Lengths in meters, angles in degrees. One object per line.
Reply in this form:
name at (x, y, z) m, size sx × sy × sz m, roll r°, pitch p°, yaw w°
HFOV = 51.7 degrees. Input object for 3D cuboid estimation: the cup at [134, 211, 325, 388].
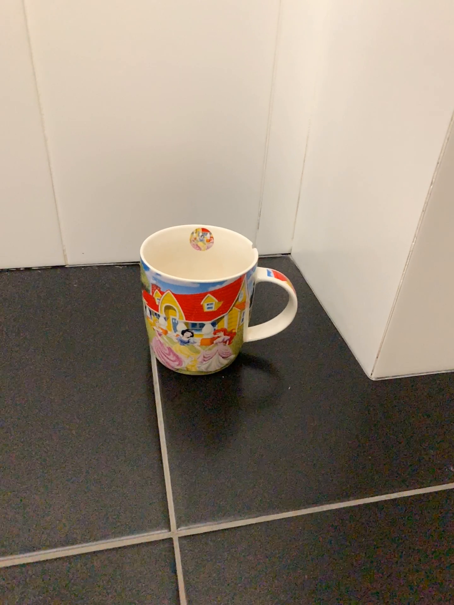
cup at (-0.005, -0.006, 0.377) m, size 0.124 × 0.099 × 0.086 m, roll -6°, pitch 36°, yaw -15°
